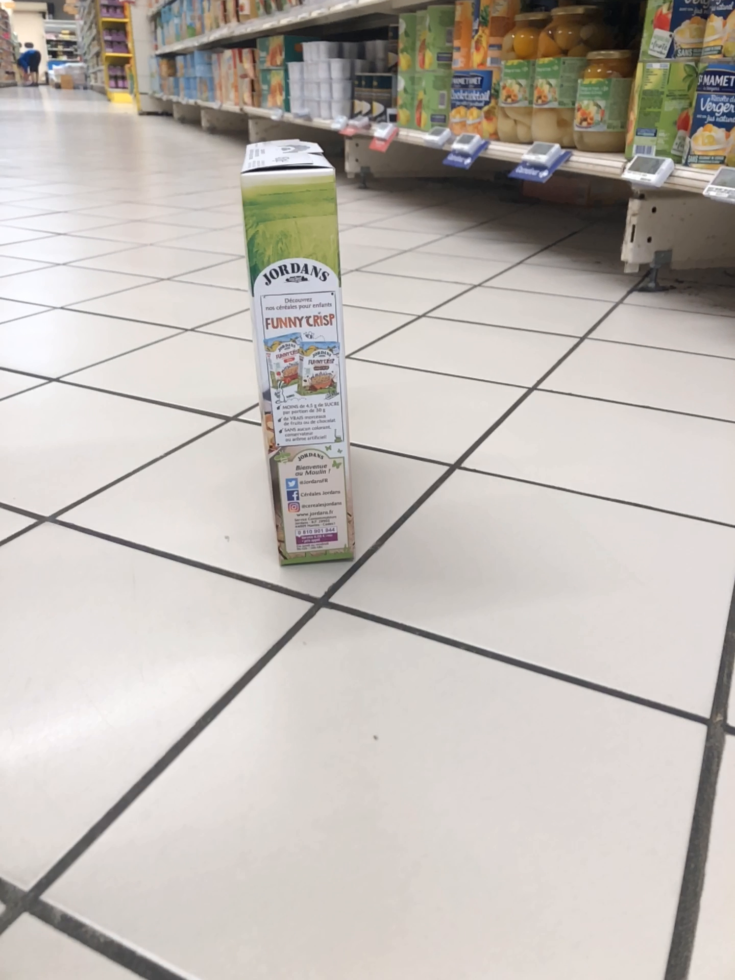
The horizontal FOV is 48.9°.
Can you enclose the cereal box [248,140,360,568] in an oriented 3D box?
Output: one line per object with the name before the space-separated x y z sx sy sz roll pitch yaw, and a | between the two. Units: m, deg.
cereal box | -0.040 -0.094 0.490 0.050 0.209 0.191 -3 26 -6
